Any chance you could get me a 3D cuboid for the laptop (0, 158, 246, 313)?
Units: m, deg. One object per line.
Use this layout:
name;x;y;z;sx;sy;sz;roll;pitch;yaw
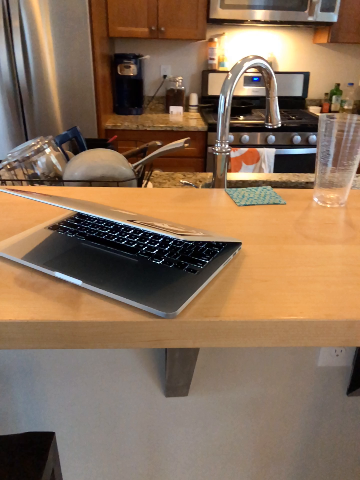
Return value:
laptop;-0.087;-0.032;0.575;0.300;0.084;0.211;15;30;26
